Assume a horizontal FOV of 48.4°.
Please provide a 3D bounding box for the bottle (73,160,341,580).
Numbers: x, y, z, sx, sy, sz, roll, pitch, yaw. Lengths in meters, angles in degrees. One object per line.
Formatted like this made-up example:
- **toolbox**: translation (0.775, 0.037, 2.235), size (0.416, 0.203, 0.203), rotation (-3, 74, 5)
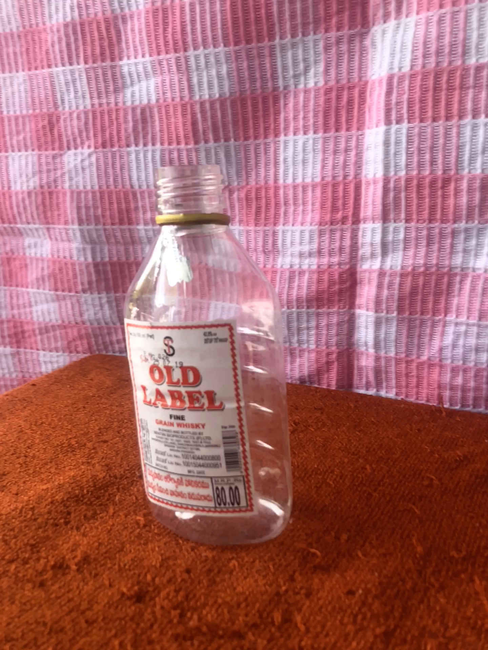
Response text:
- **bottle**: translation (-0.009, 0.011, 0.197), size (0.070, 0.130, 0.050), rotation (5, 17, 31)
